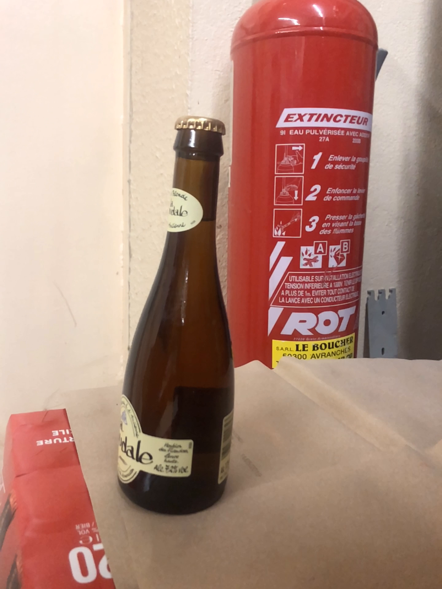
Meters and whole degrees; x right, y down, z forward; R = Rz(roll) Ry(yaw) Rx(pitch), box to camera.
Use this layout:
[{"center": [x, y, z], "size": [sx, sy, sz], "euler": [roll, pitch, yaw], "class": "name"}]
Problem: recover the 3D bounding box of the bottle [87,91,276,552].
[{"center": [-0.028, 0.012, 0.276], "size": [0.070, 0.219, 0.080], "euler": [-4, 13, -32], "class": "bottle"}]
